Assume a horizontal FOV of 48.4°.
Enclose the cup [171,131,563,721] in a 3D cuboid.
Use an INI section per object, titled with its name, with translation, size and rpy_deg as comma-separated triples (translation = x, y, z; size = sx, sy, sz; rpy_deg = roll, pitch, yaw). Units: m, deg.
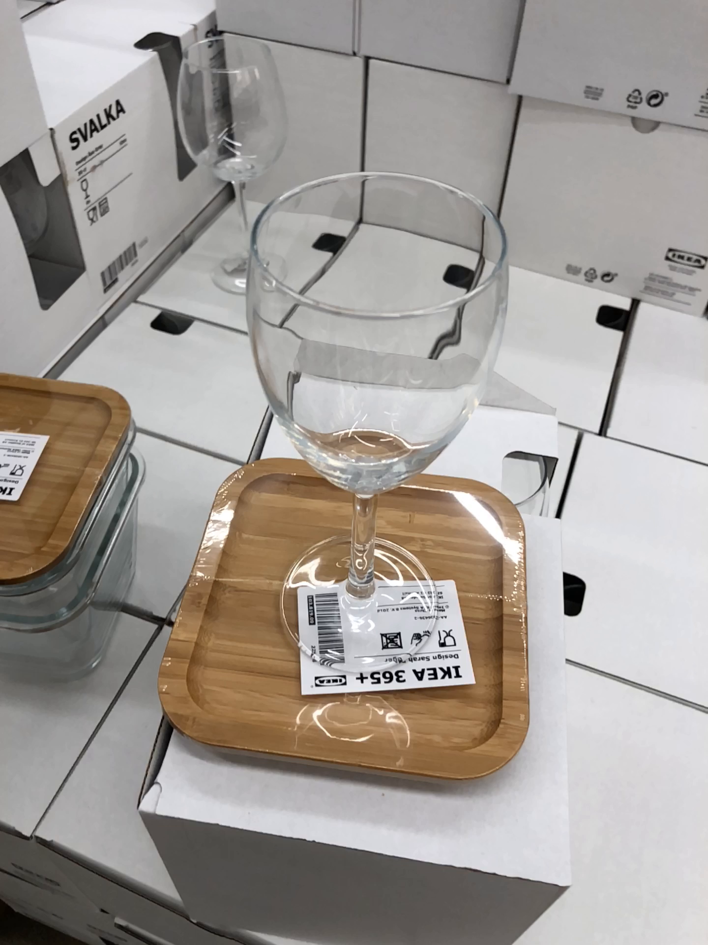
[cup]
translation = 0.005, -0.003, 0.267
size = 0.080, 0.179, 0.080
rpy_deg = 1, 48, -1
